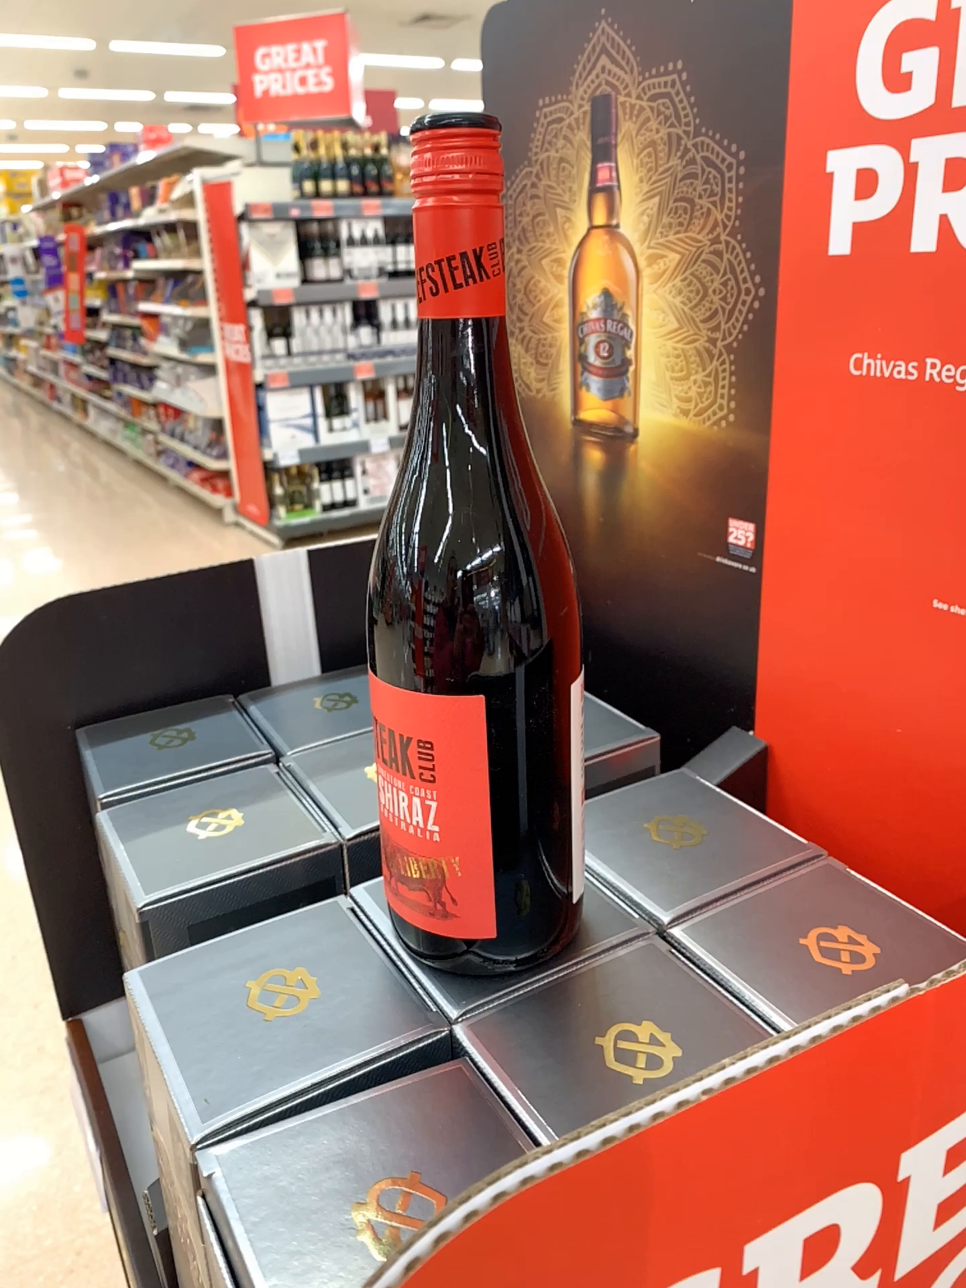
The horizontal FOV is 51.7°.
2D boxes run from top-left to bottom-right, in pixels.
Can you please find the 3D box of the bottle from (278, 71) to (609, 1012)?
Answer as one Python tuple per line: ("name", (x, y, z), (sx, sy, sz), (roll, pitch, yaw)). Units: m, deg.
("bottle", (-0.010, -0.026, 0.340), (0.080, 0.284, 0.083), (-2, 20, 1))
